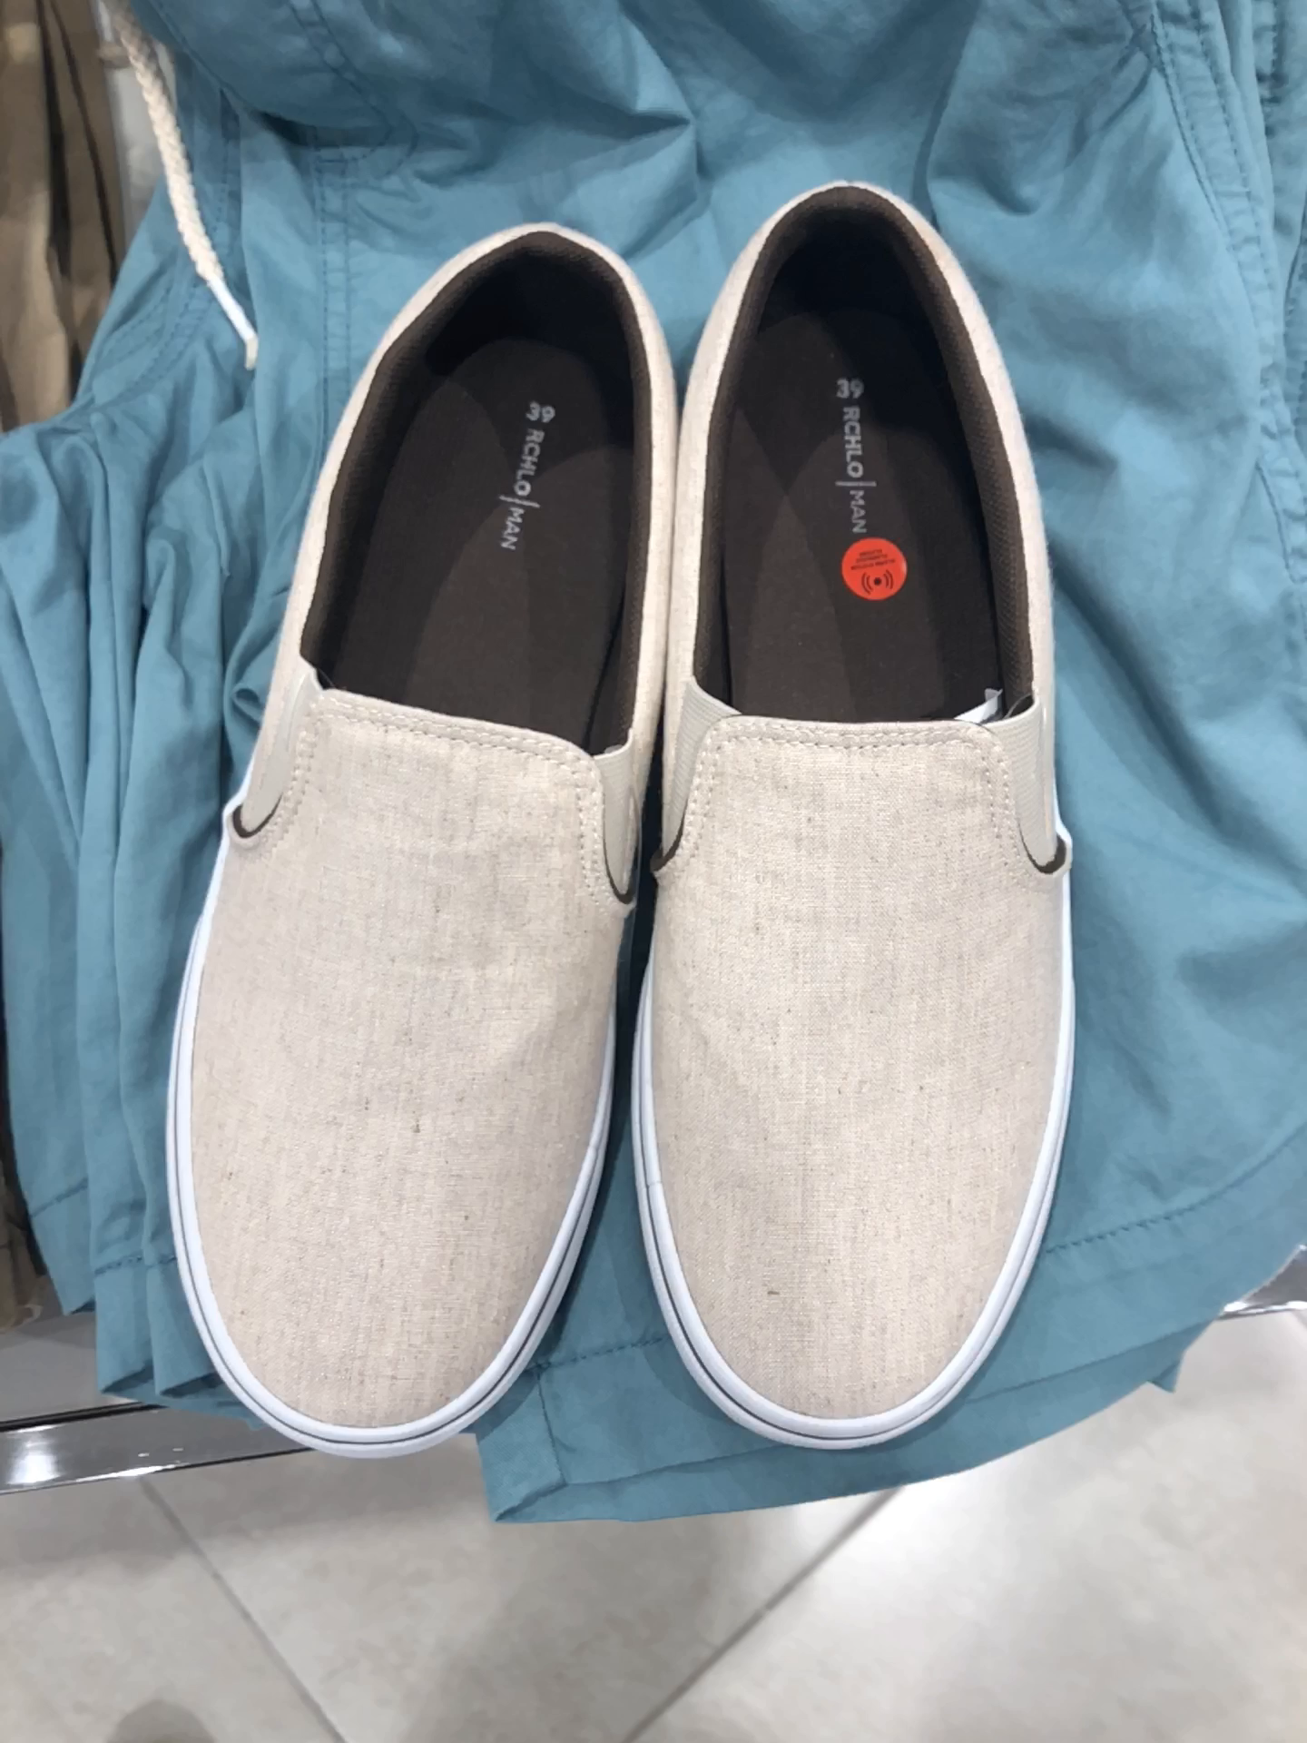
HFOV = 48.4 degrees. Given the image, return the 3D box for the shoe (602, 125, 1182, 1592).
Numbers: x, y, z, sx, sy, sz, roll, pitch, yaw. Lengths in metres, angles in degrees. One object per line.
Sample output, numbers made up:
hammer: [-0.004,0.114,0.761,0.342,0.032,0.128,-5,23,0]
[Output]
shoe: [0.043,-0.004,0.304,0.100,0.090,0.260,0,87,2]

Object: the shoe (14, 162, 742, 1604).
shoe: [-0.048,0.000,0.318,0.100,0.090,0.260,8,87,4]
